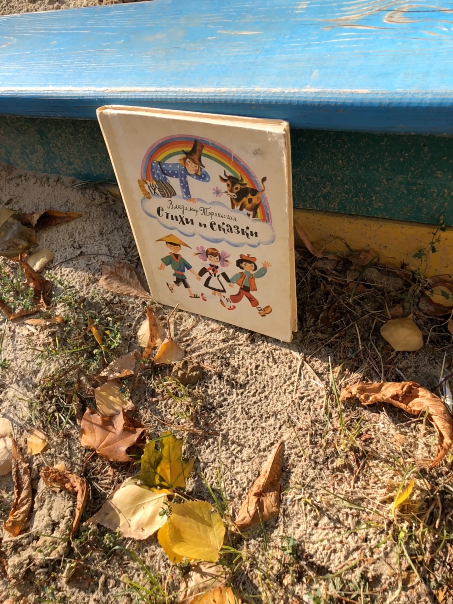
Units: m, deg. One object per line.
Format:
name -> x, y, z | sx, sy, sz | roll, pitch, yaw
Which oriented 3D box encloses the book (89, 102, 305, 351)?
book -> -0.019, -0.063, 0.450 | 0.178, 0.213, 0.024 | 16, 47, 27
